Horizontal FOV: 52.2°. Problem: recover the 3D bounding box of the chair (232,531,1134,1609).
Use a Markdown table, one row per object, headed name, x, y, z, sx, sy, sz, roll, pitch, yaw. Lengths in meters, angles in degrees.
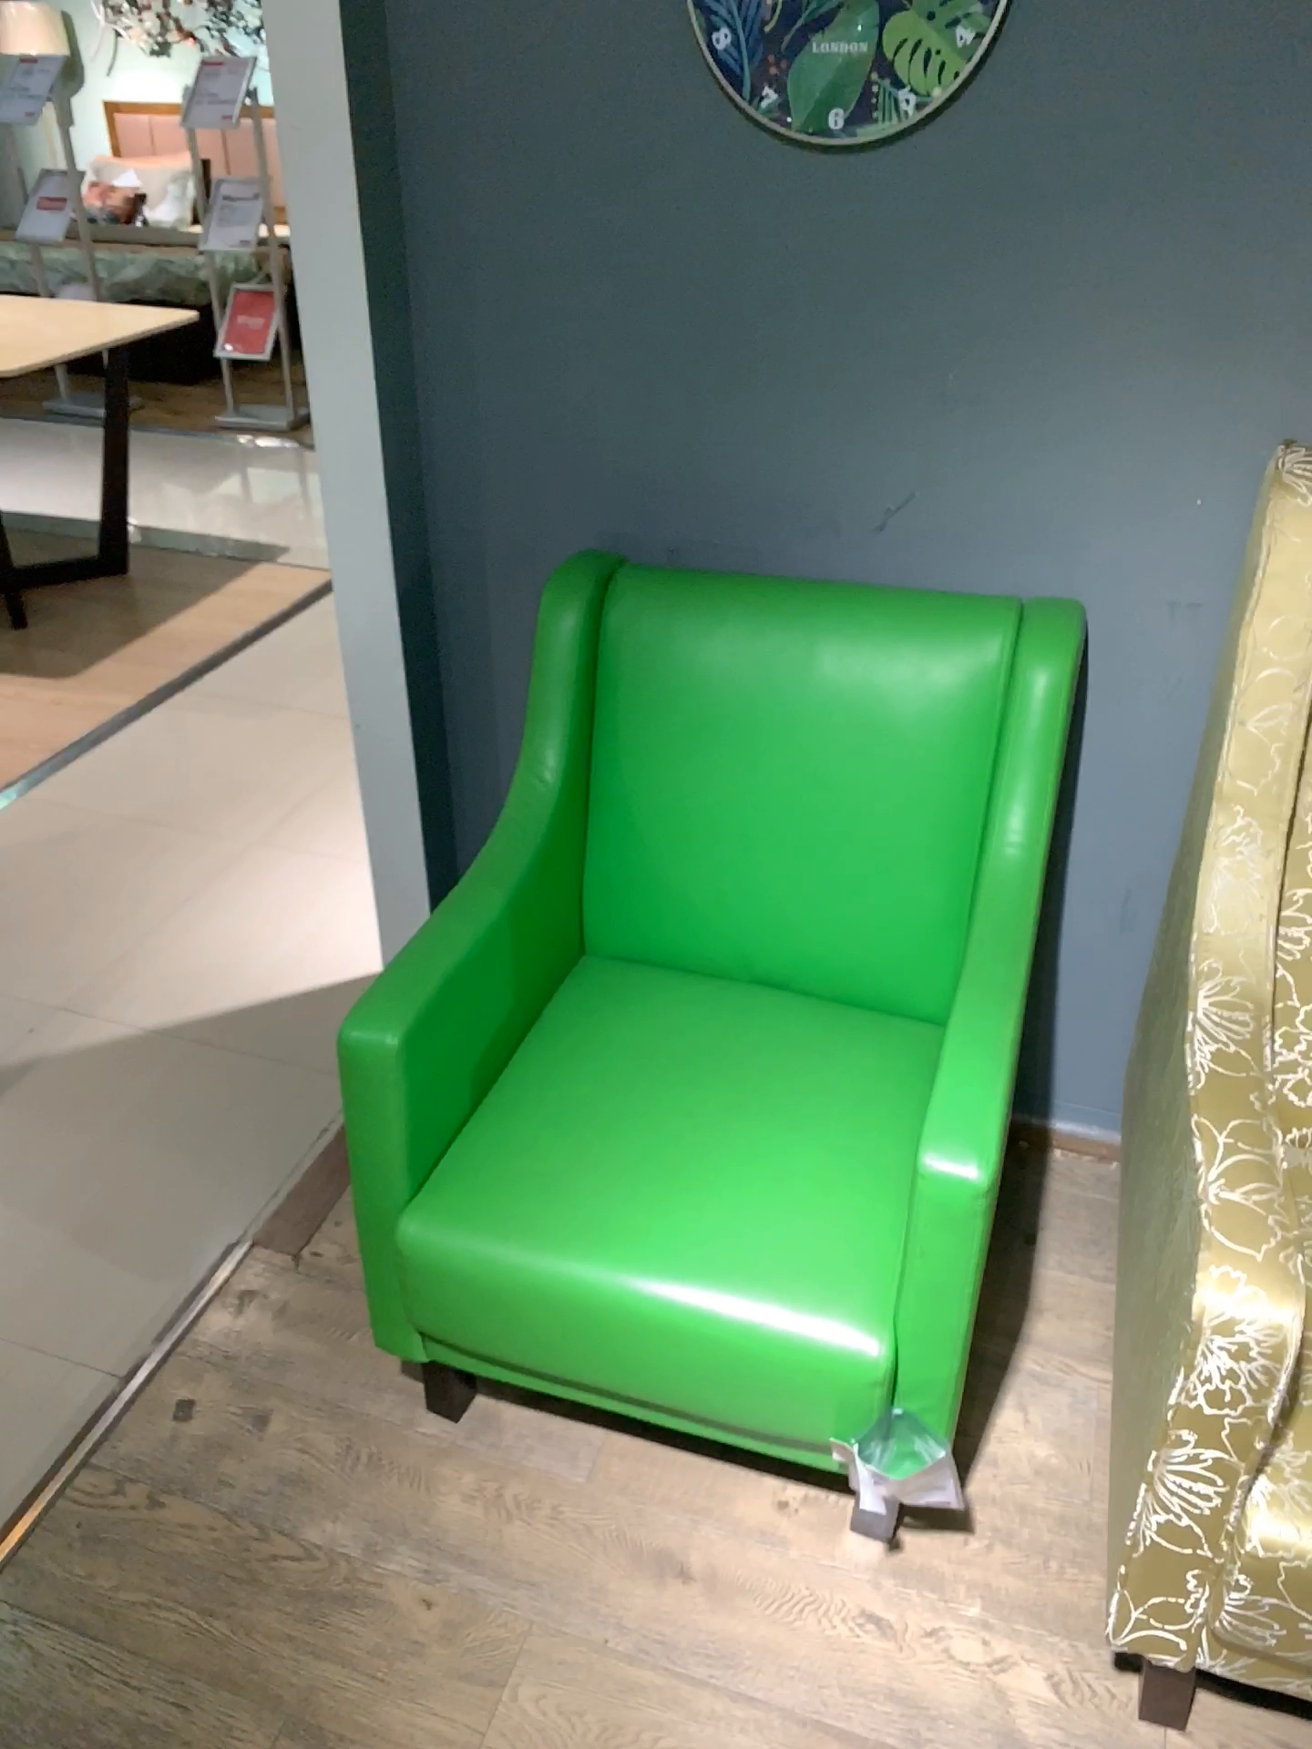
| name | x | y | z | sx | sy | sz | roll | pitch | yaw |
| --- | --- | --- | --- | --- | --- | --- | --- | --- | --- |
| chair | 0.106 | 0.141 | 1.563 | 0.710 | 0.787 | 0.813 | 10 | 33 | 15 |
